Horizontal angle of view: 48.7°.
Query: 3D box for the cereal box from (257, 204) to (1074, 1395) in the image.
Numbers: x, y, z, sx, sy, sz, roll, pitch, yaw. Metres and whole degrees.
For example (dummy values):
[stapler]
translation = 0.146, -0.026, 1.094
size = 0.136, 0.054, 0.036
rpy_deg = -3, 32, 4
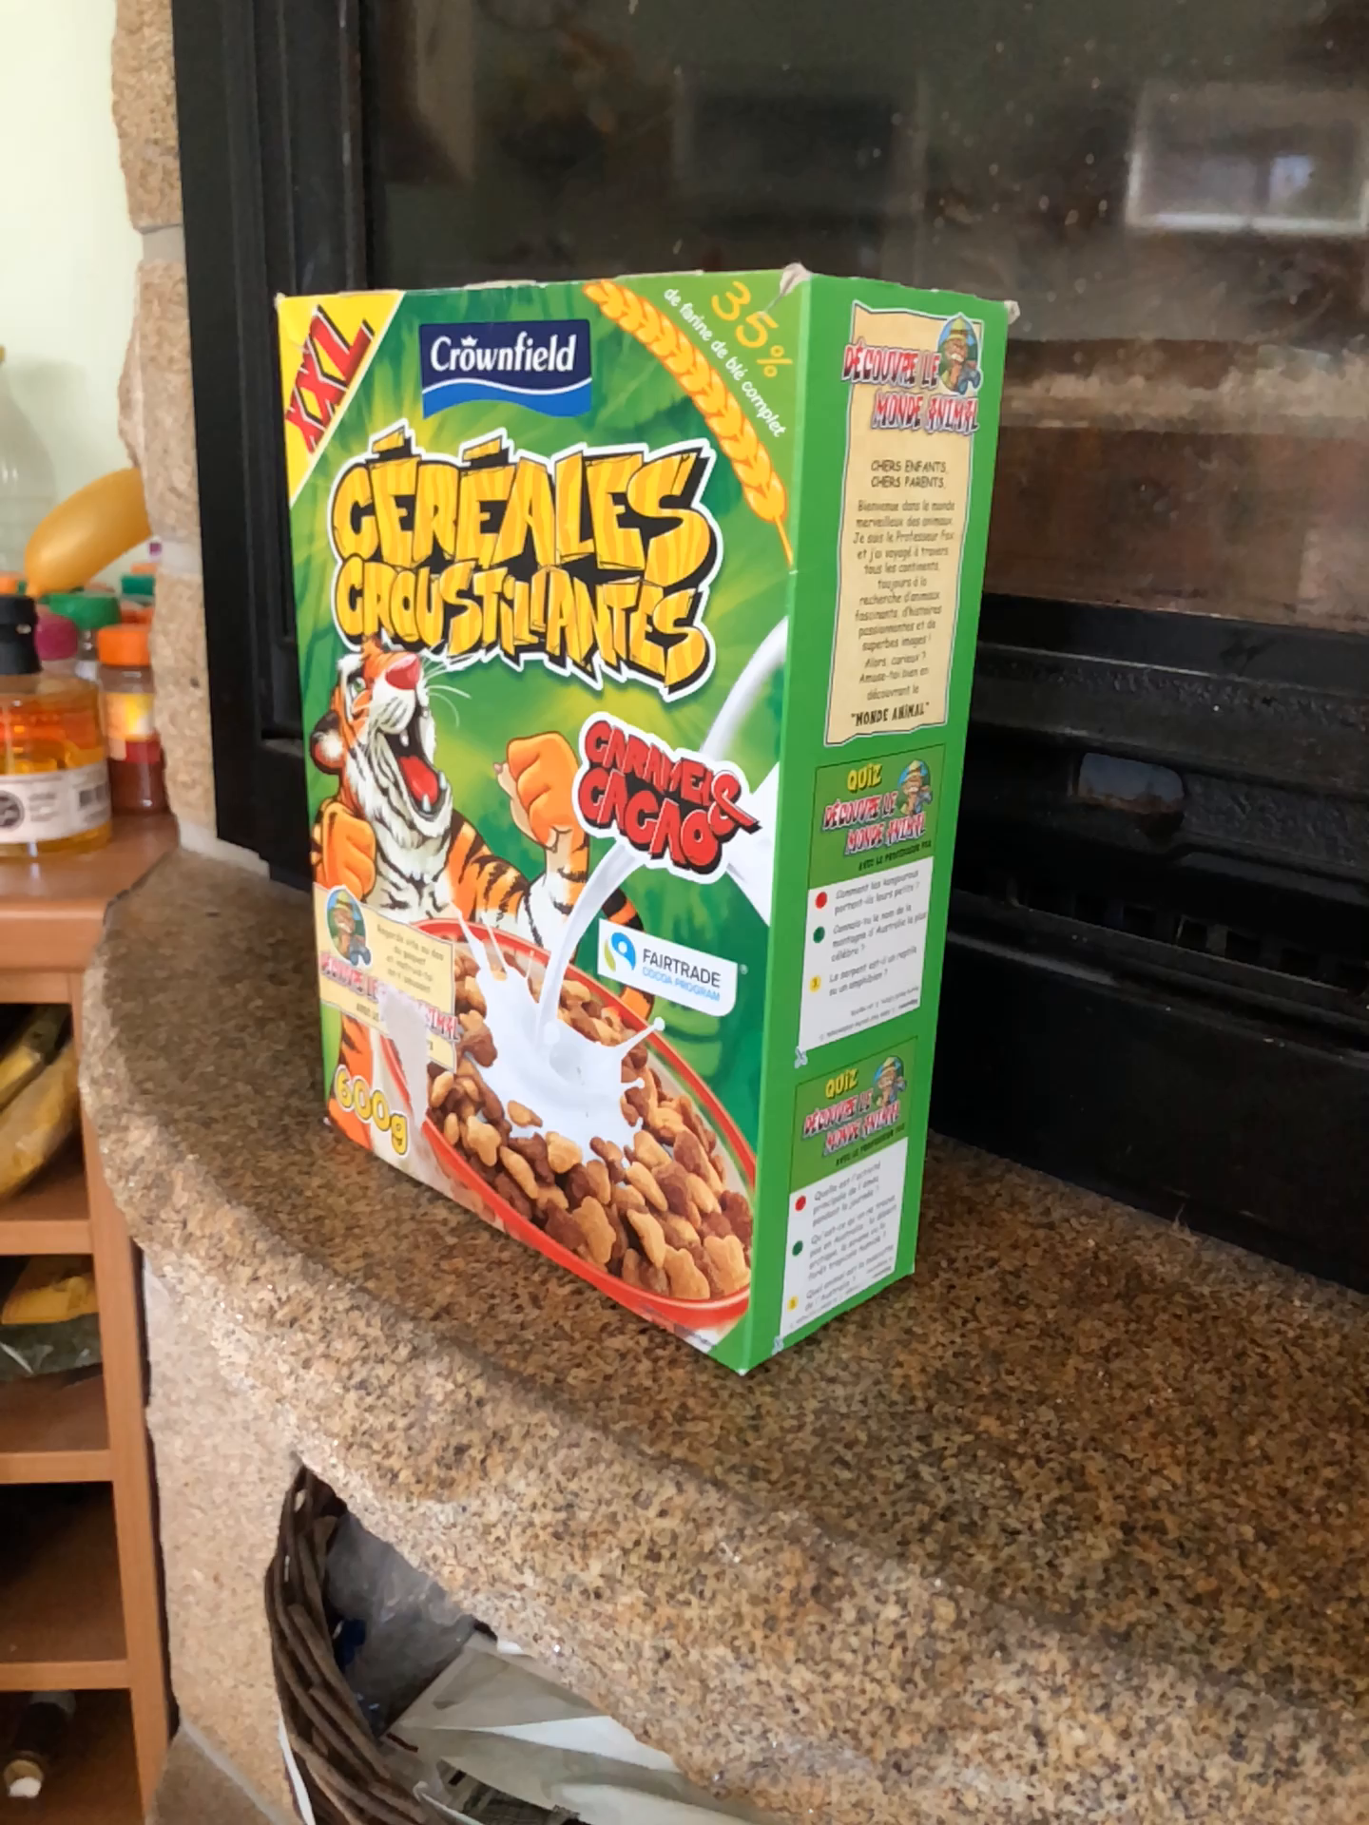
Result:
[cereal box]
translation = -0.019, -0.041, 0.418
size = 0.200, 0.259, 0.090
rpy_deg = 18, 23, 41
